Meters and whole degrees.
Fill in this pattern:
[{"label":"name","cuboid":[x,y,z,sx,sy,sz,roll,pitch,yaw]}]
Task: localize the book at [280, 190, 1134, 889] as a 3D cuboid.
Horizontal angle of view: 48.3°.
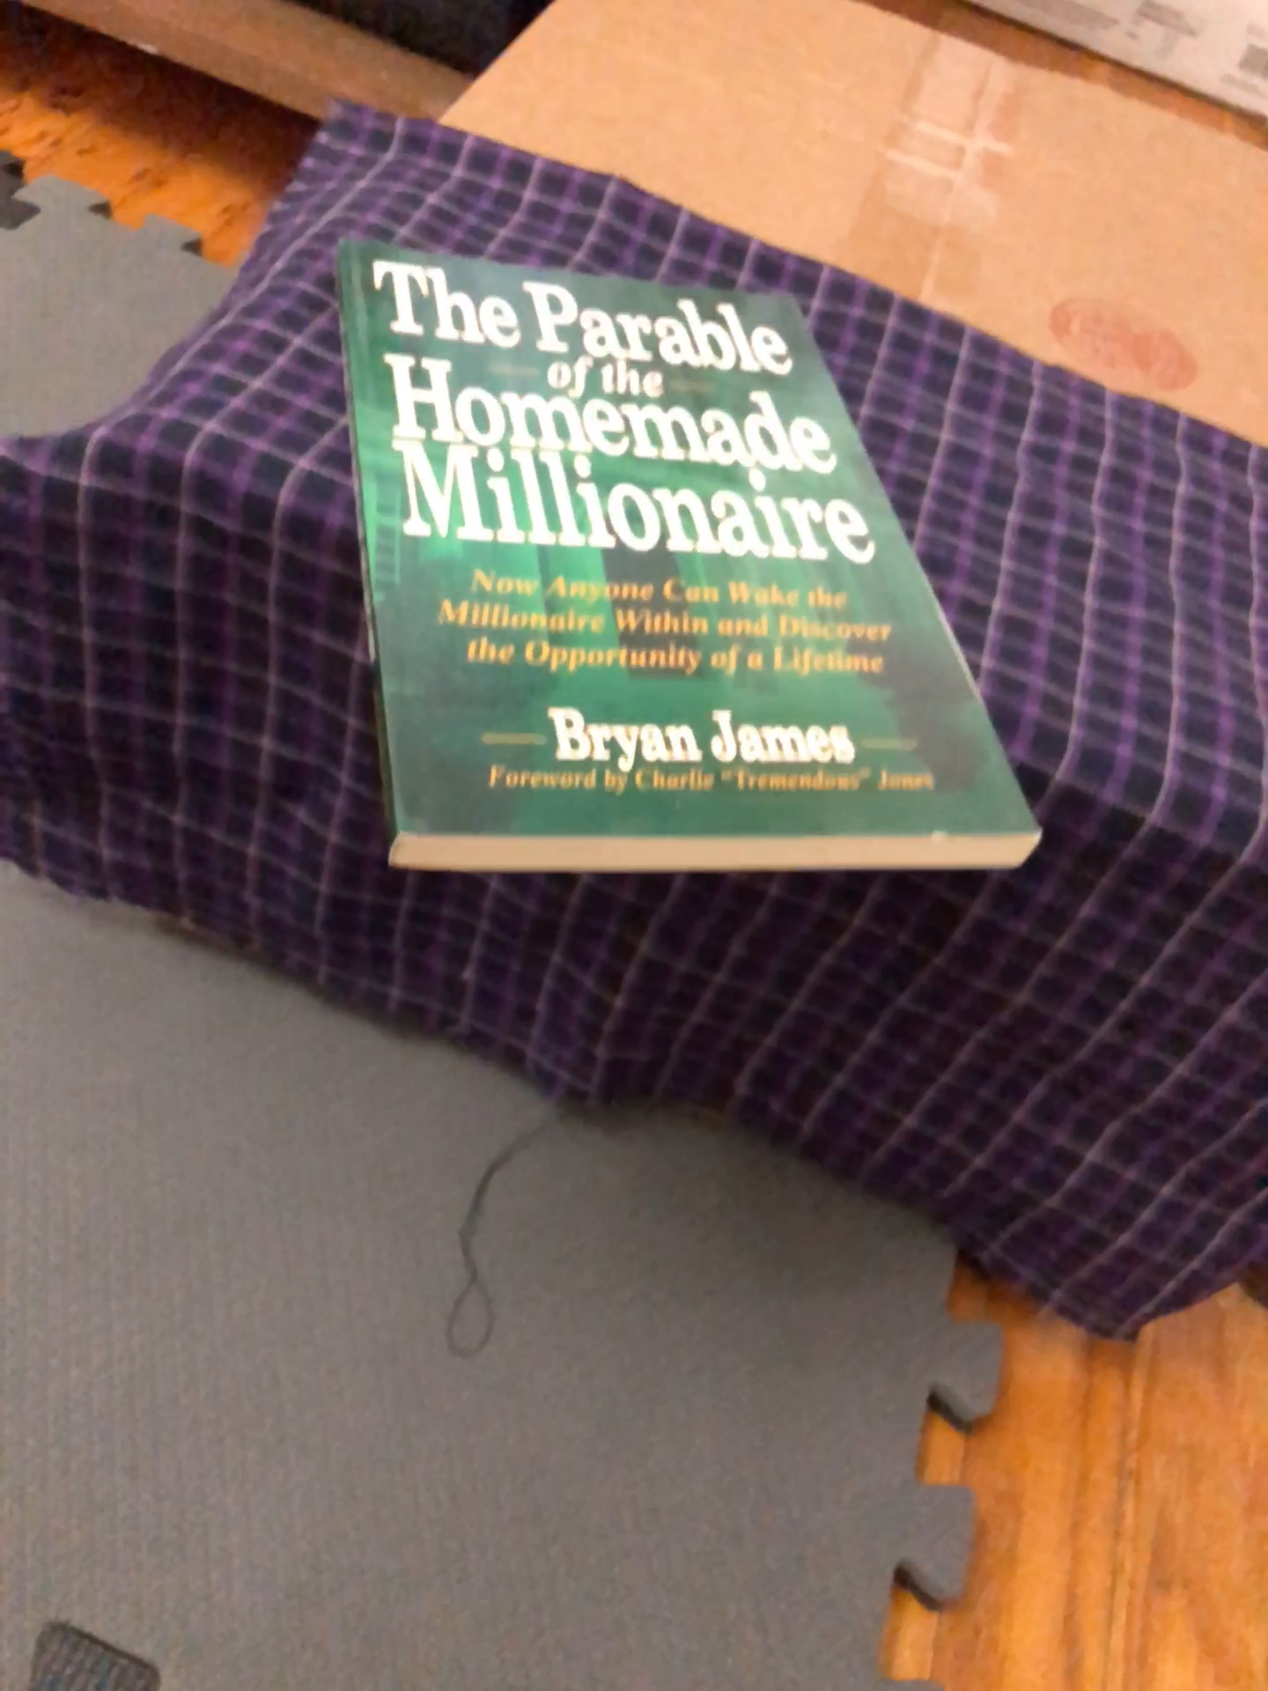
[{"label":"book","cuboid":[0.003,-0.081,0.333,0.160,0.020,0.211,0,51,-17]}]
